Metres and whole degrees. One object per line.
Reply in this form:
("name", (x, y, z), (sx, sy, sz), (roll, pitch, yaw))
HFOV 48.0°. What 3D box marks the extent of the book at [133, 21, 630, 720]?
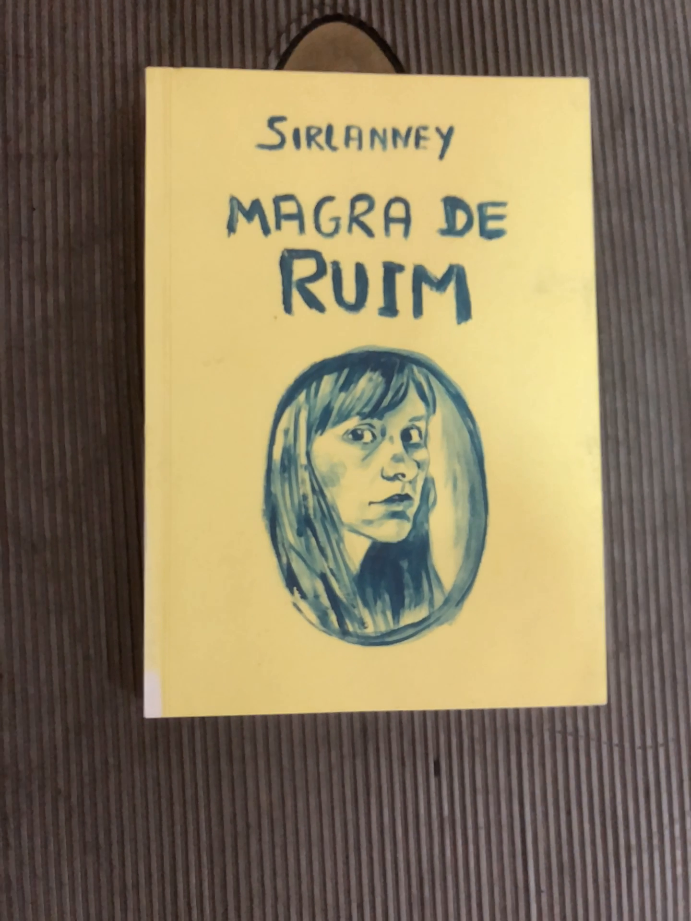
("book", (0.012, -0.028, 0.247), (0.150, 0.020, 0.210), (0, 88, -4))
